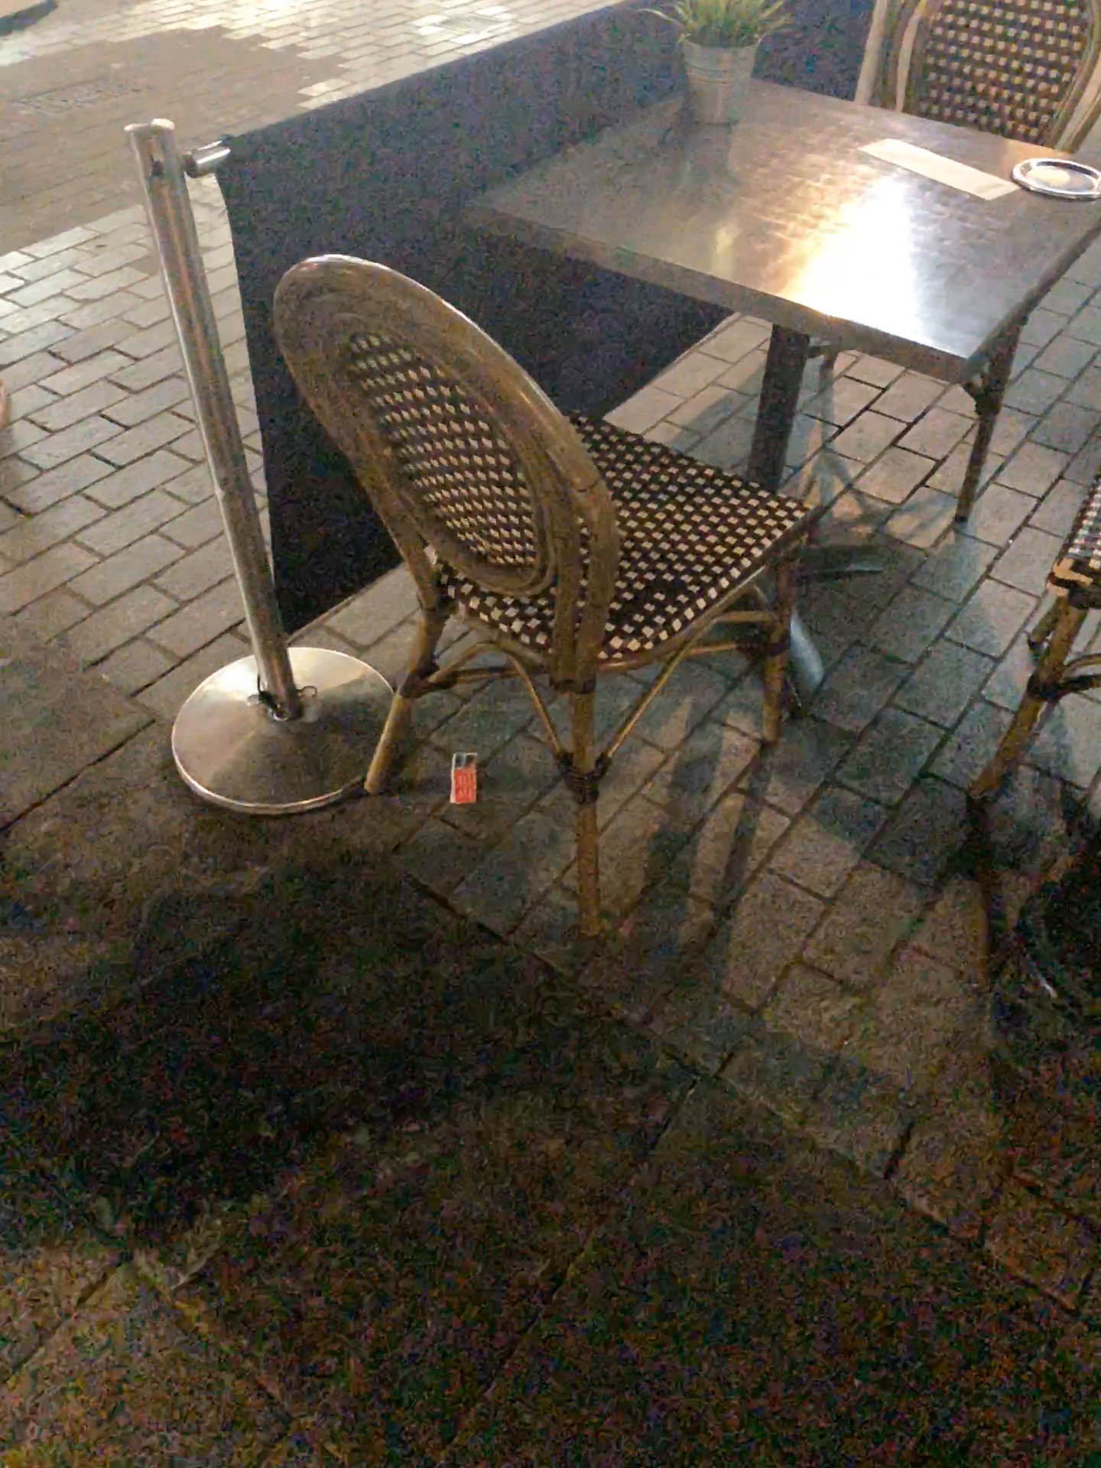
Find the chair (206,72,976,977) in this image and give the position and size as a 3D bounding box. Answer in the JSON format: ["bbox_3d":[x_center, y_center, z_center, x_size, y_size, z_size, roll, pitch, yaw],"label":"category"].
[{"bbox_3d":[0.052,-0.259,1.387,0.512,0.792,0.604,29,51,24],"label":"chair"}]
